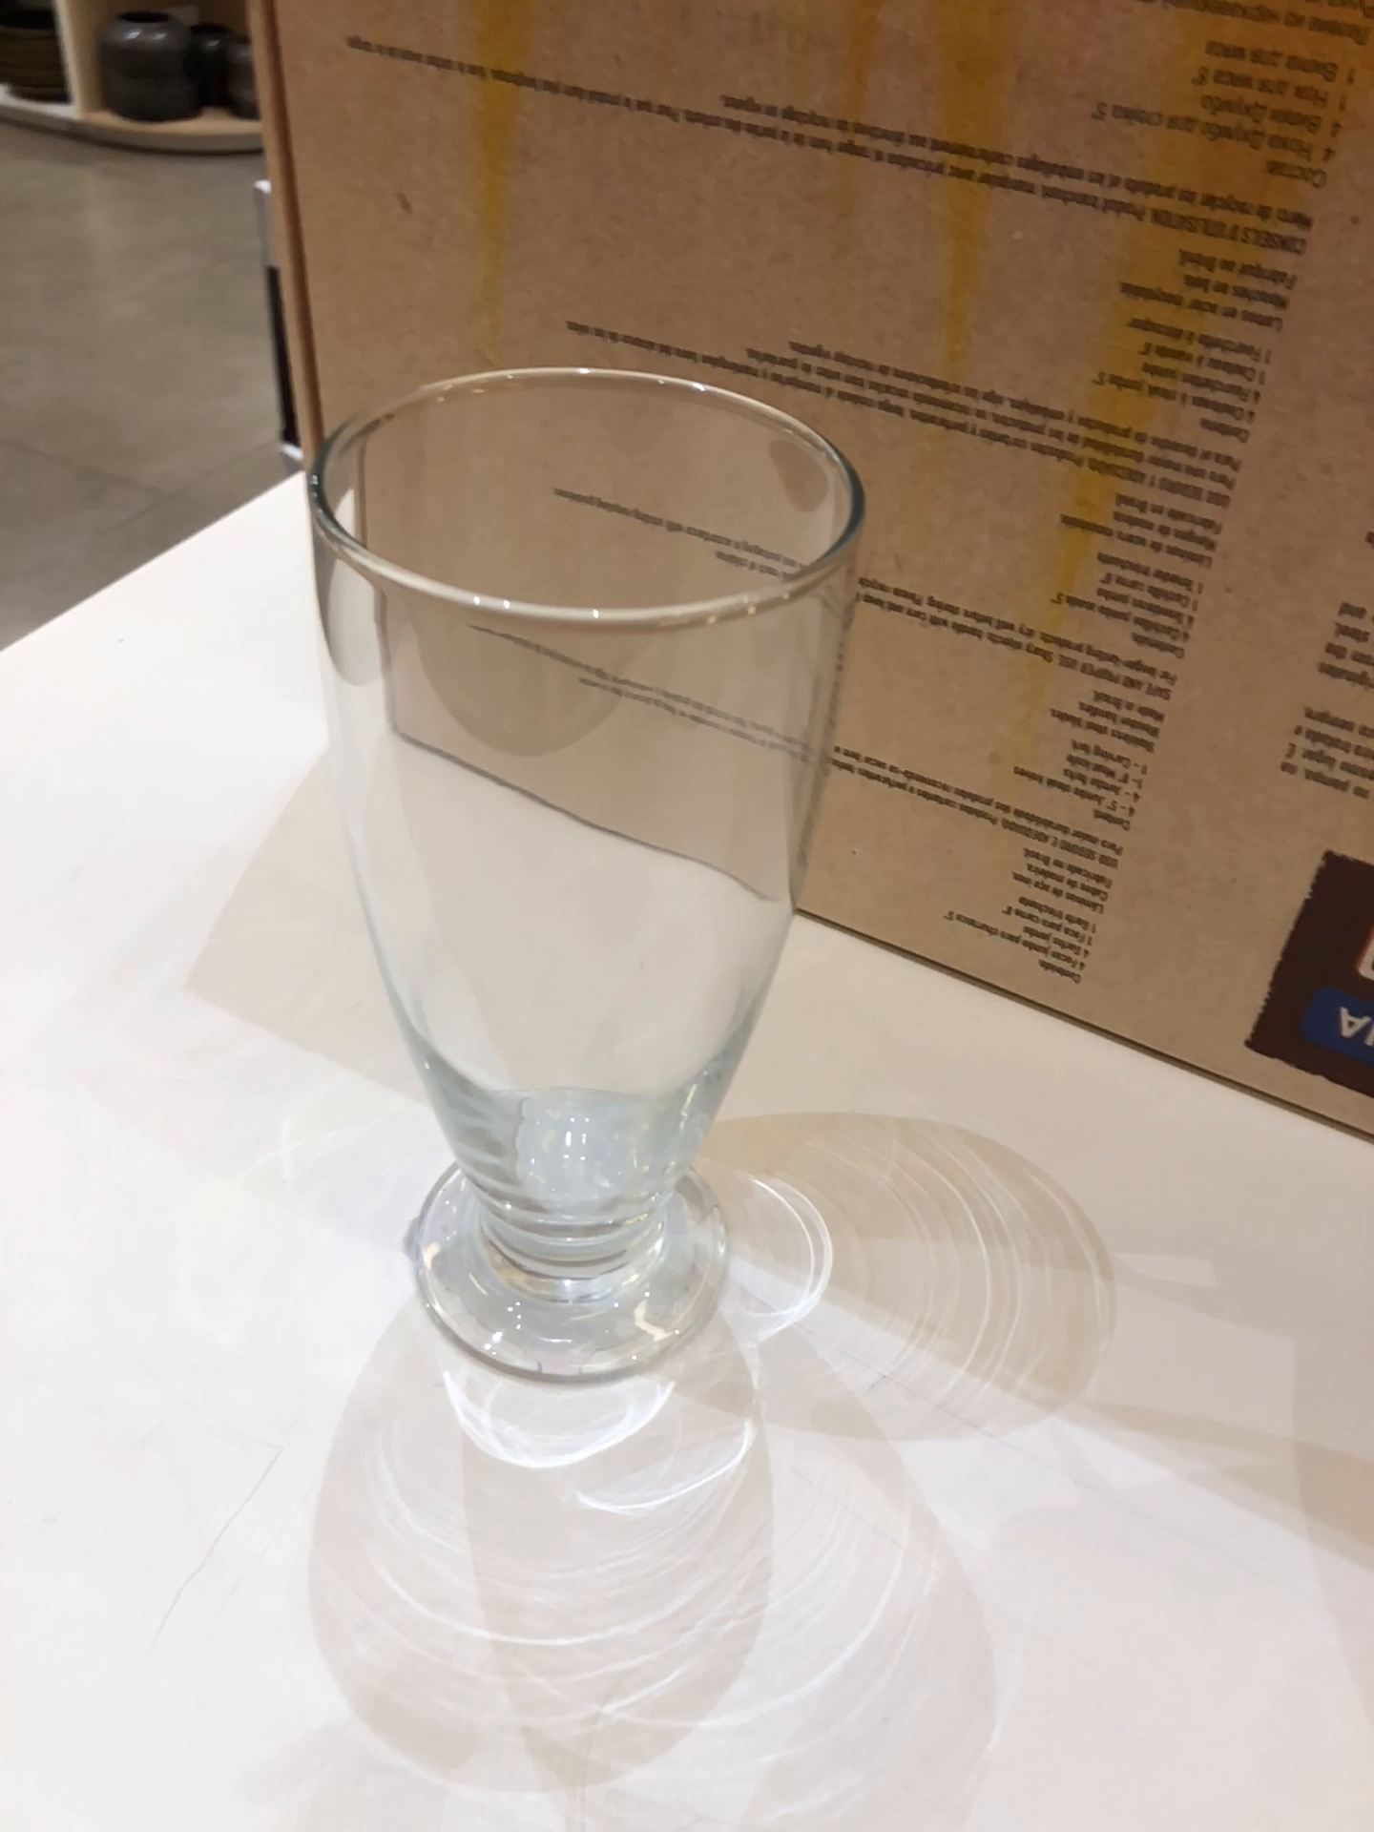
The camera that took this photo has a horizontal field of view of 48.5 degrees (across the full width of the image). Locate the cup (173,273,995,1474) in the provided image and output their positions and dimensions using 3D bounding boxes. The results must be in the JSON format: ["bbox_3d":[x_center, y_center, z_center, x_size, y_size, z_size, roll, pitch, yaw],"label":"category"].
[{"bbox_3d":[-0.017,-0.001,0.279,0.090,0.189,0.081,21,42,18],"label":"cup"}]
